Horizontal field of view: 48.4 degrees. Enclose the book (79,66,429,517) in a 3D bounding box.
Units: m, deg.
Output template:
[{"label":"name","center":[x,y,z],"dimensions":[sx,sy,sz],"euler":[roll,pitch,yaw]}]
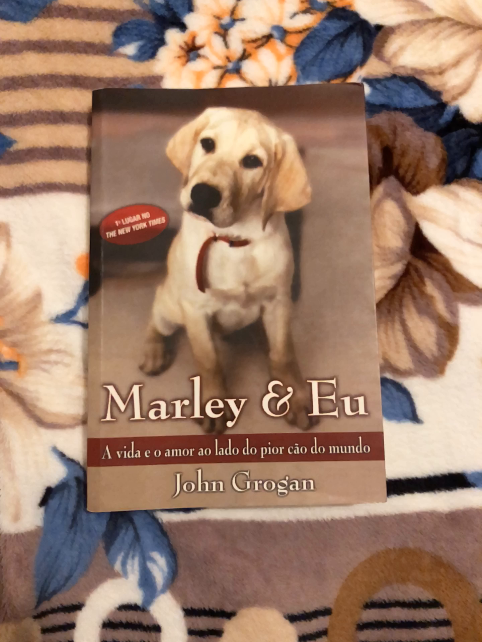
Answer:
[{"label":"book","center":[0.003,-0.020,0.294],"dimensions":[0.170,0.040,0.230],"euler":[-2,83,-2]}]
